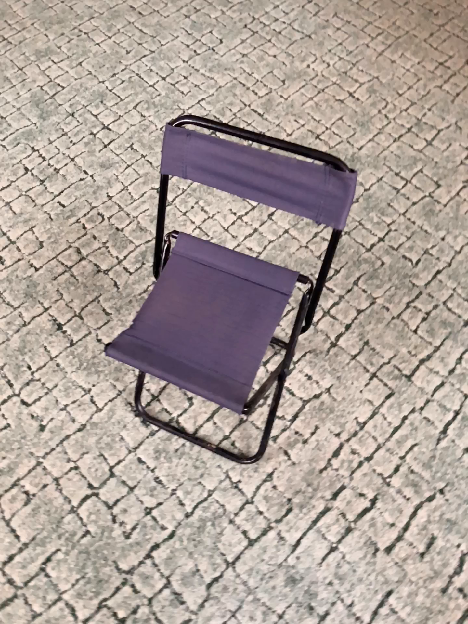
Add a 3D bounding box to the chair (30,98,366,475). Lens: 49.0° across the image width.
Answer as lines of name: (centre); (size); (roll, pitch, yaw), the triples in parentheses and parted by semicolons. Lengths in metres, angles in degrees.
chair: (-0.029, -0.008, 0.967); (0.342, 0.537, 0.399); (20, 63, 12)
